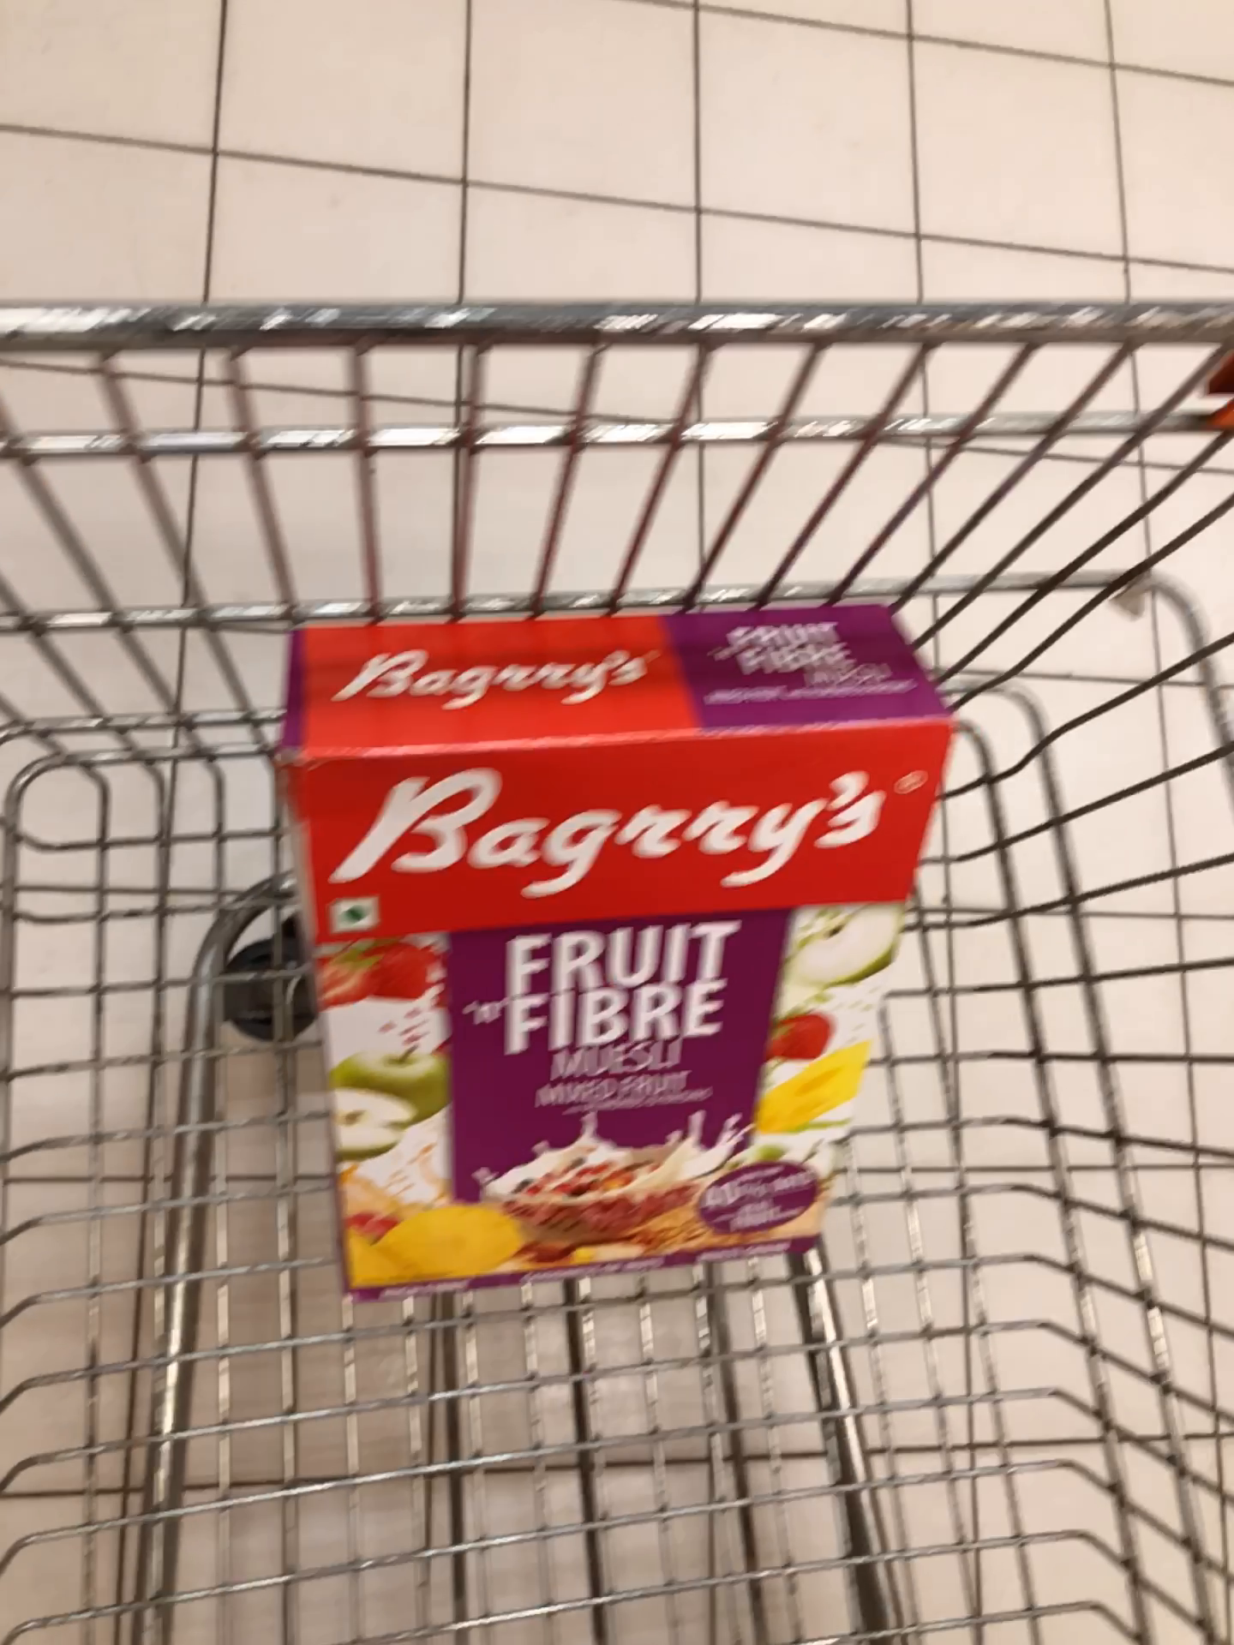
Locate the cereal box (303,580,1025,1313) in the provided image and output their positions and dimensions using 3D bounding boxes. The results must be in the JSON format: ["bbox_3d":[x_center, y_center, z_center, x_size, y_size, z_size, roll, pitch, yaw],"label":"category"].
[{"bbox_3d":[0.003,0.050,0.455,0.190,0.249,0.070,-3,39,-10],"label":"cereal box"}]
